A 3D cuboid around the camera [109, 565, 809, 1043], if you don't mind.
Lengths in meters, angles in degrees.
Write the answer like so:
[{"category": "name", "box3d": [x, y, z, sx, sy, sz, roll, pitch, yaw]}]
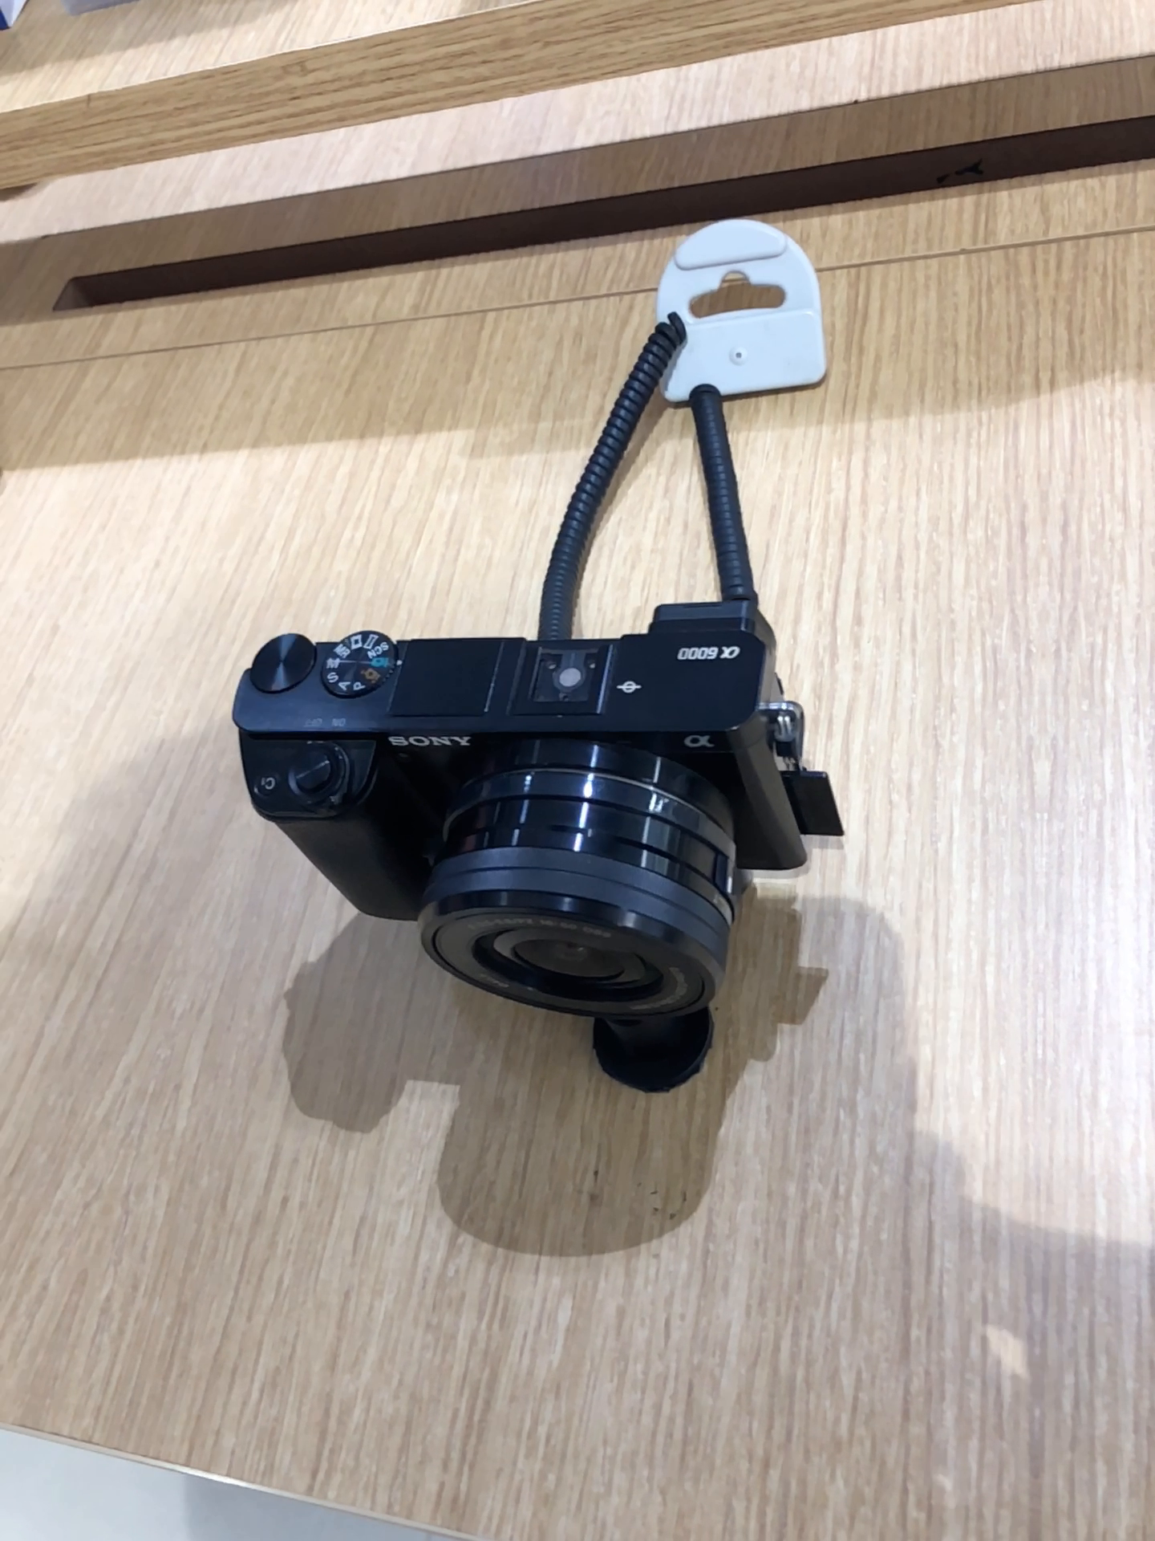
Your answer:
[{"category": "camera", "box3d": [-0.016, 0.009, 0.247, 0.107, 0.070, 0.059, -1, 59, 19]}]
